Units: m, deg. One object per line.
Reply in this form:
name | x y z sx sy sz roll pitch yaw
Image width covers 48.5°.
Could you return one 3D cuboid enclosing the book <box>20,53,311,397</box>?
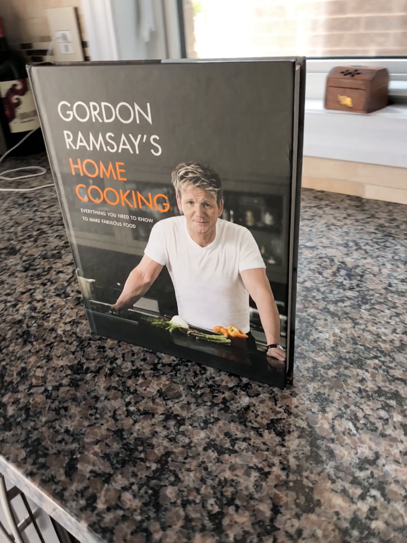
book | -0.029 -0.033 0.375 0.217 0.261 0.028 11 33 25
